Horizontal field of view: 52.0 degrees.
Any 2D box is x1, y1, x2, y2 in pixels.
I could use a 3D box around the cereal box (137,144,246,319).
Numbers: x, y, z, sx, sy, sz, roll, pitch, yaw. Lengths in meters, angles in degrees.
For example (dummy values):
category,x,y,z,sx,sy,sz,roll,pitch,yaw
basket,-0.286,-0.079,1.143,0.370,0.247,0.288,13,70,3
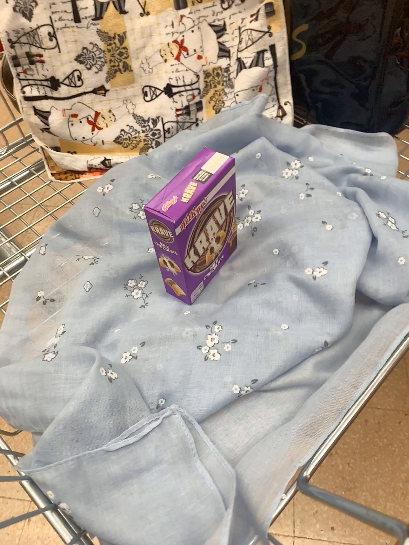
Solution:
category,x,y,z,sx,sy,sz,roll,pitch,yaw
cereal box,-0.003,-0.032,0.382,0.040,0.129,0.090,28,61,23
